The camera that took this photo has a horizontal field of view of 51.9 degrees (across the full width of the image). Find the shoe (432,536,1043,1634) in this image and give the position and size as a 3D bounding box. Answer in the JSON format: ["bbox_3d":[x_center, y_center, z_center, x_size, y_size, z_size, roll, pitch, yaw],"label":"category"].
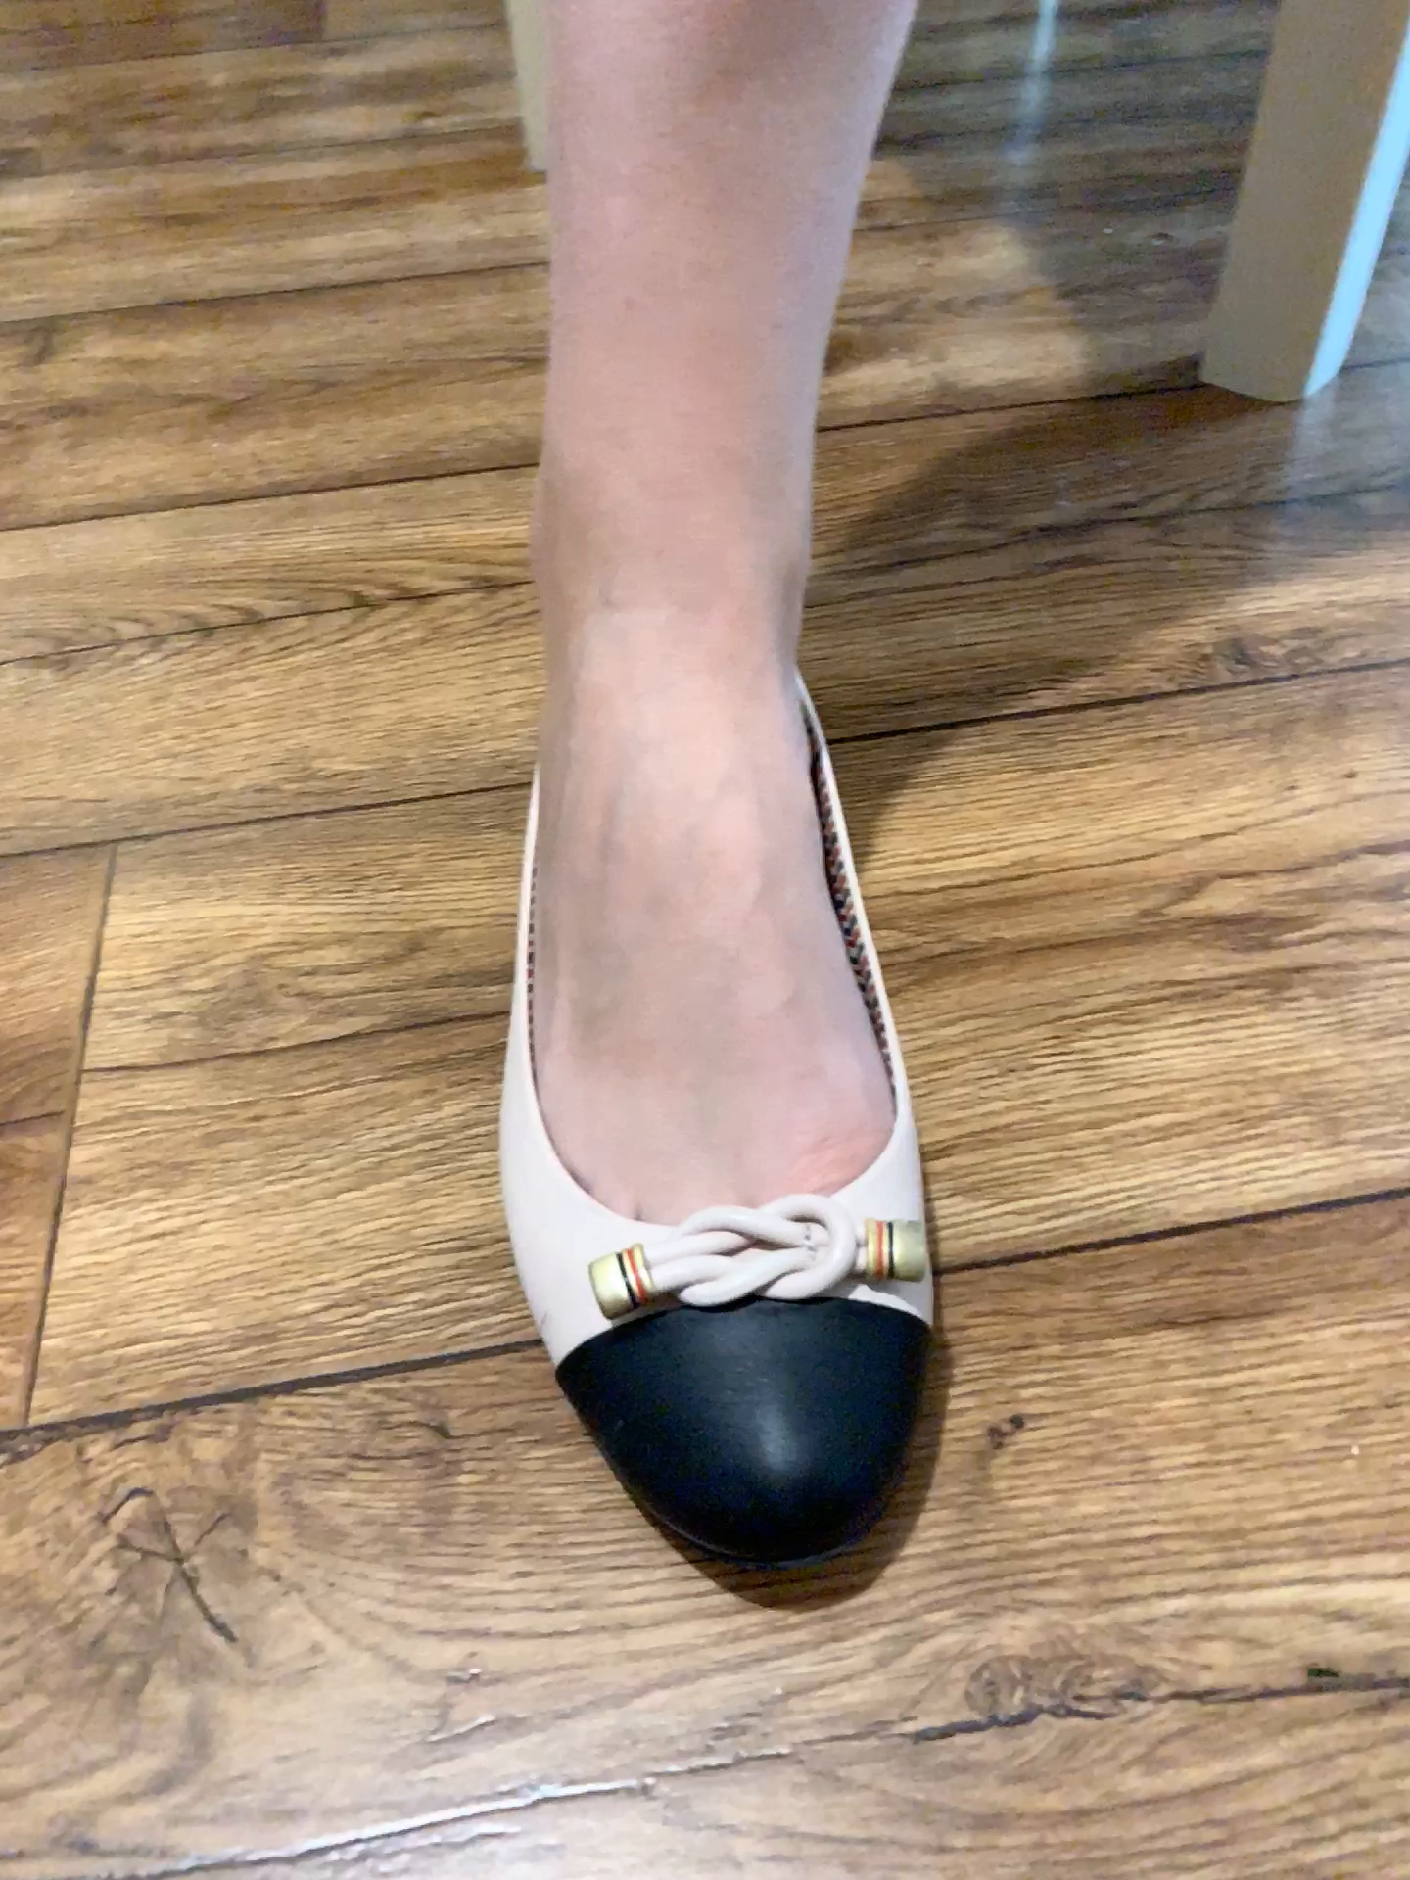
[{"bbox_3d":[-0.007,0.009,0.292,0.083,0.059,0.221,-6,48,-3],"label":"shoe"}]
